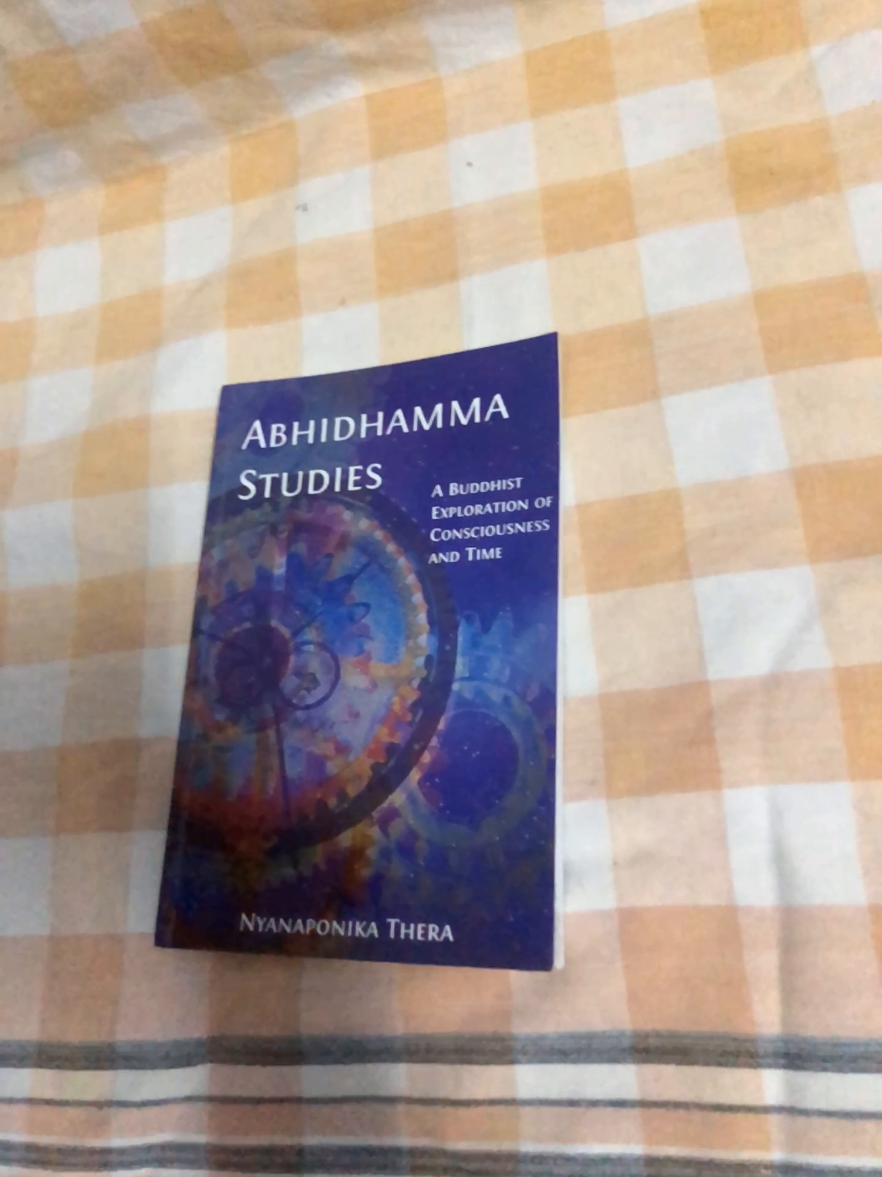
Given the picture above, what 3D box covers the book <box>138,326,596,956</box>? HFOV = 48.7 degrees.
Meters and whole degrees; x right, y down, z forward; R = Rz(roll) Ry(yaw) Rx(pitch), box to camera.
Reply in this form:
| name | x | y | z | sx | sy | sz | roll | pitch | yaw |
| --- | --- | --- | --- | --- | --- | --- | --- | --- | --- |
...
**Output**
| name | x | y | z | sx | sy | sz | roll | pitch | yaw |
| --- | --- | --- | --- | --- | --- | --- | --- | --- | --- |
| book | -0.023 | 0.014 | 0.346 | 0.150 | 0.020 | 0.210 | -4 | 71 | 17 |
